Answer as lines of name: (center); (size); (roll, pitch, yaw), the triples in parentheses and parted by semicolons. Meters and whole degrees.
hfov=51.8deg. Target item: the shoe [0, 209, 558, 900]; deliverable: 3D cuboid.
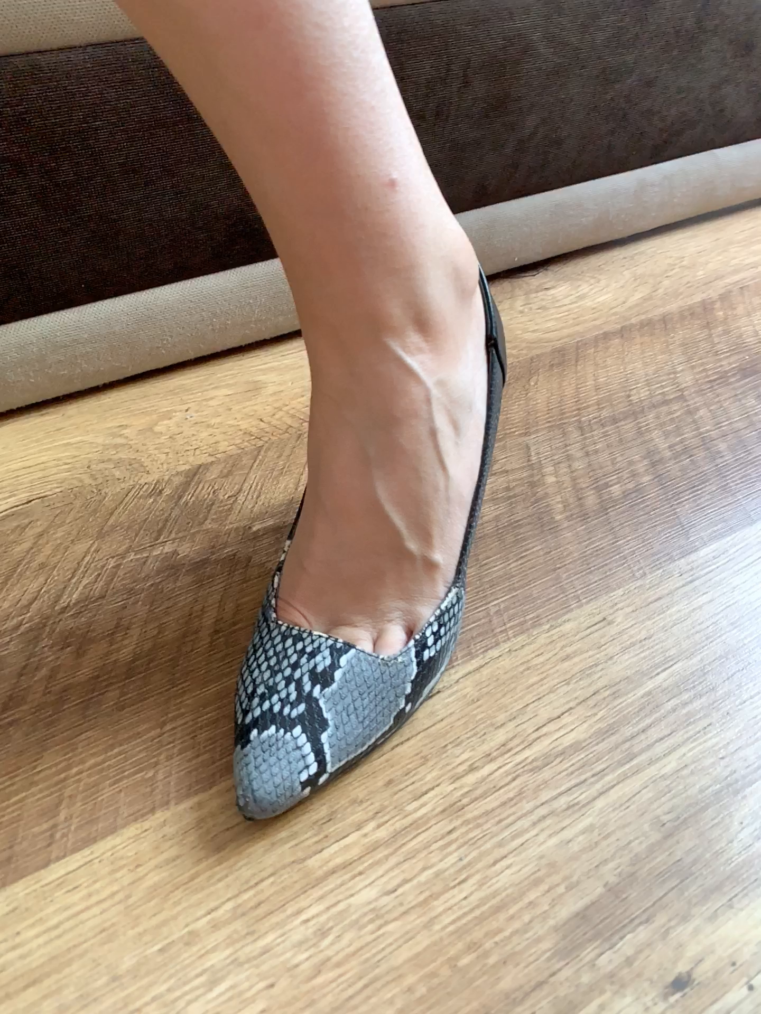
shoe: (-0.007, -0.010, 0.302); (0.090, 0.109, 0.251); (13, 43, 16)
